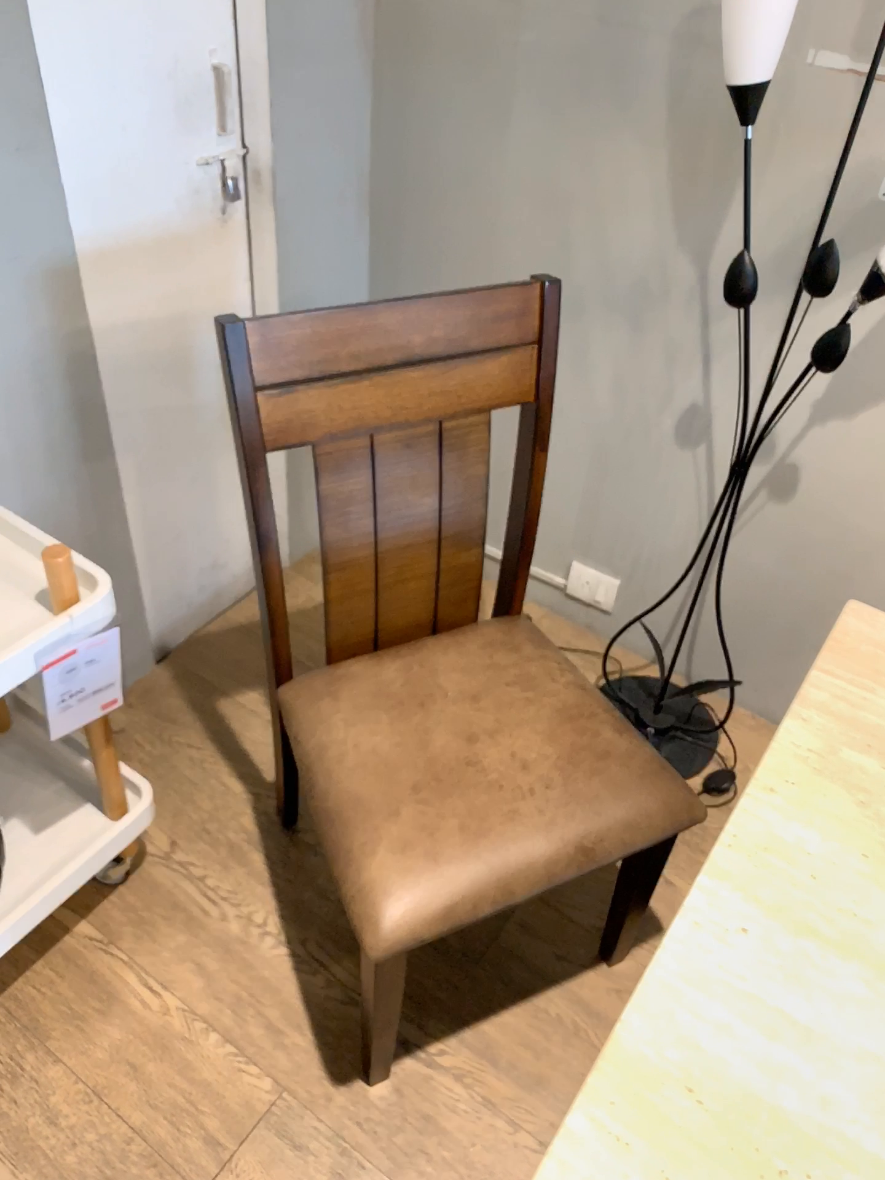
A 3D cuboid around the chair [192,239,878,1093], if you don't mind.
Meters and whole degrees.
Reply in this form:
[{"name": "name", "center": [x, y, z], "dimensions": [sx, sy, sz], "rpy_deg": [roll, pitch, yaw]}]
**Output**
[{"name": "chair", "center": [0.028, 0.132, 1.282], "dimensions": [0.510, 0.996, 0.552], "rpy_deg": [-16, 46, -23]}]
